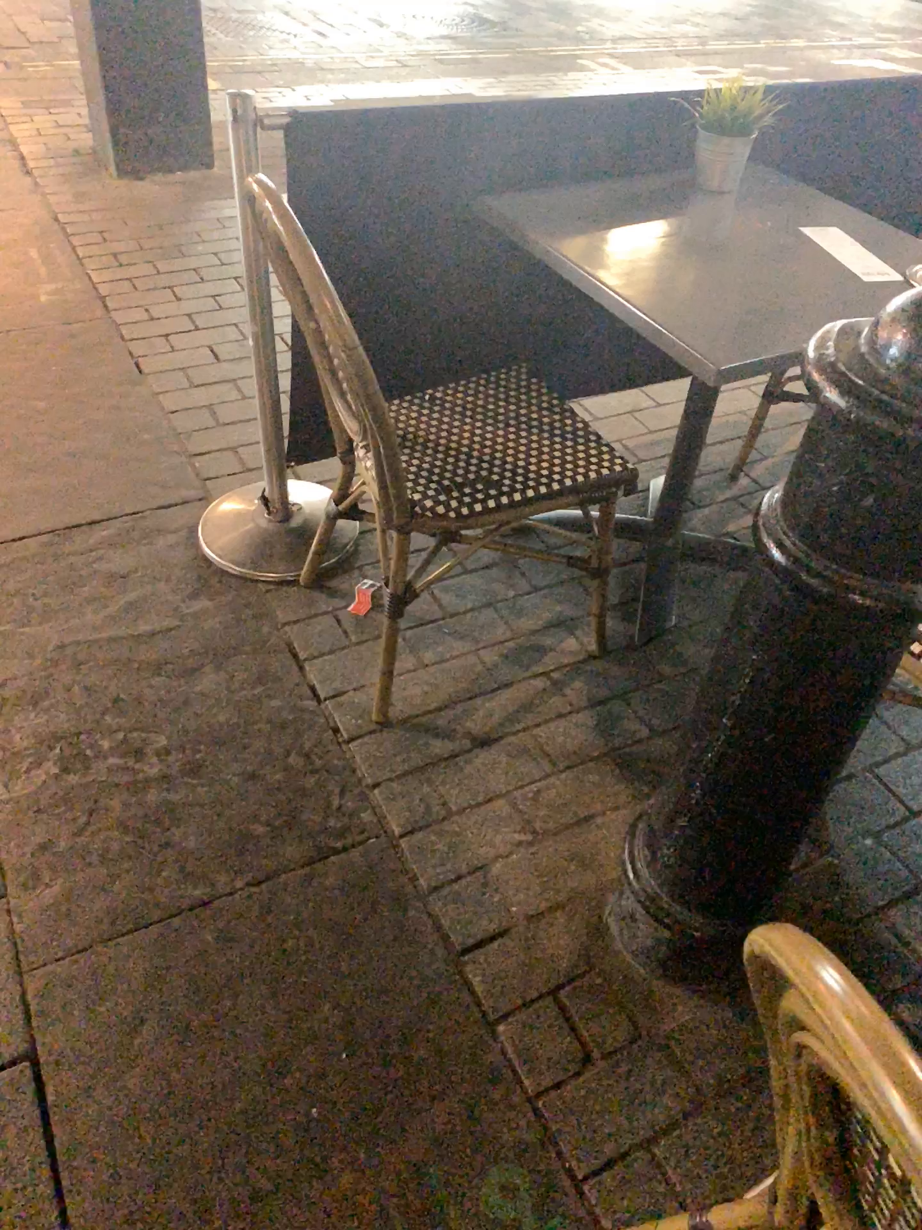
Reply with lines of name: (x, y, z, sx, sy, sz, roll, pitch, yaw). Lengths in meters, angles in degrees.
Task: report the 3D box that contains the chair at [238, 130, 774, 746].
chair: (0.020, -0.310, 1.607, 0.601, 0.792, 0.514, -16, 46, -23)
